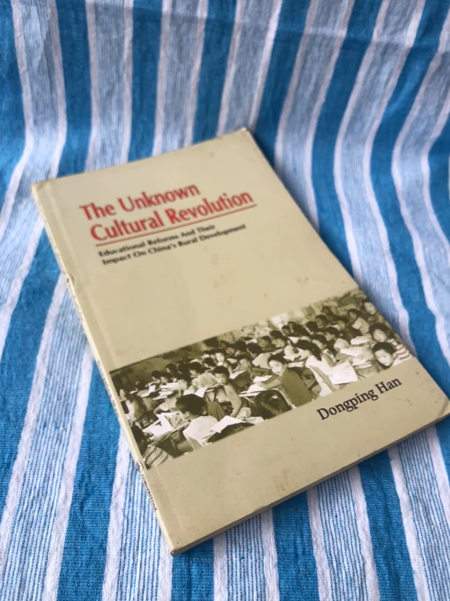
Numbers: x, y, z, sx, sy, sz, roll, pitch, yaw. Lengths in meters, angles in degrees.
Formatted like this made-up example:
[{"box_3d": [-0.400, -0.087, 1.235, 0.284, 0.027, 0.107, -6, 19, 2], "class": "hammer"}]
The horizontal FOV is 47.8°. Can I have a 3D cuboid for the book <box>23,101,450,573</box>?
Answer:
[{"box_3d": [-0.005, -0.016, 0.254, 0.140, 0.020, 0.230, -21, 55, -14], "class": "book"}]
